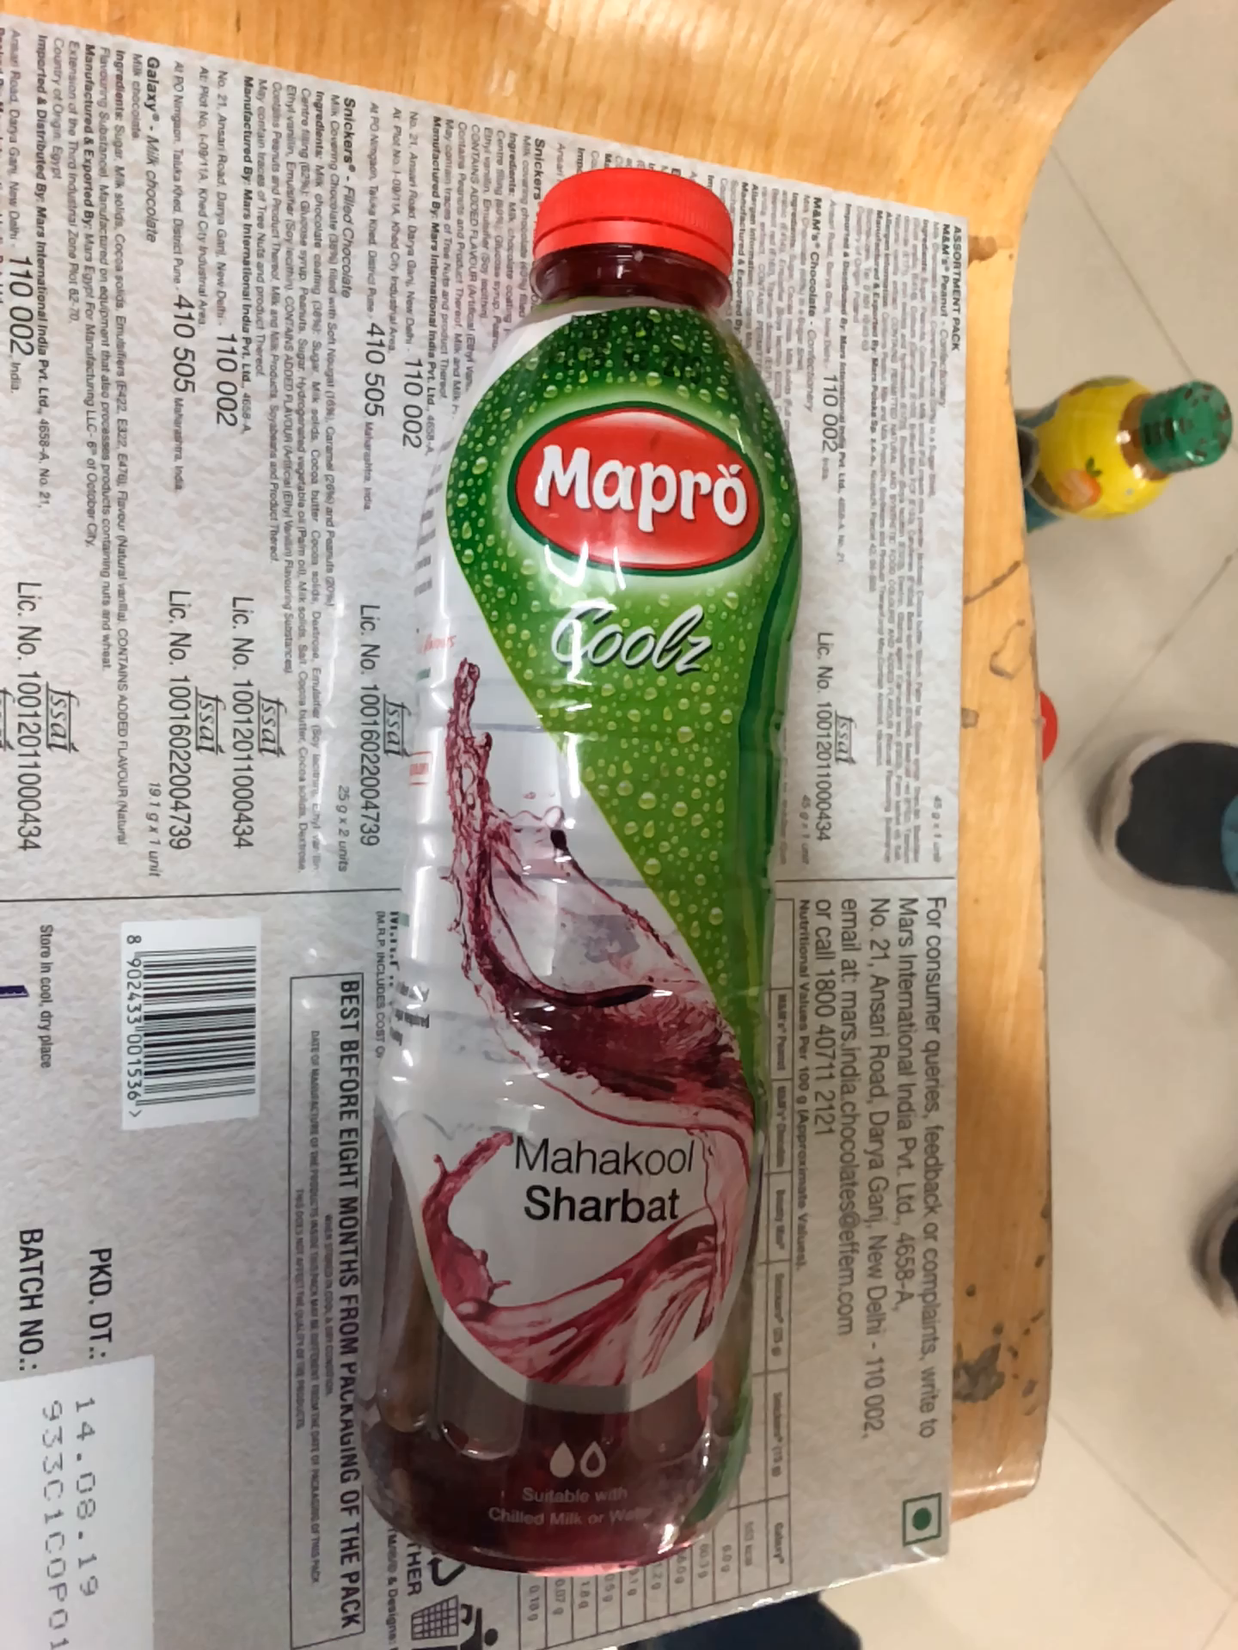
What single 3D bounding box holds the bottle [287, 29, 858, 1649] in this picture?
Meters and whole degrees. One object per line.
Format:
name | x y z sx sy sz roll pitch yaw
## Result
bottle | -0.013 0.006 0.274 0.080 0.060 0.280 4 91 -11
